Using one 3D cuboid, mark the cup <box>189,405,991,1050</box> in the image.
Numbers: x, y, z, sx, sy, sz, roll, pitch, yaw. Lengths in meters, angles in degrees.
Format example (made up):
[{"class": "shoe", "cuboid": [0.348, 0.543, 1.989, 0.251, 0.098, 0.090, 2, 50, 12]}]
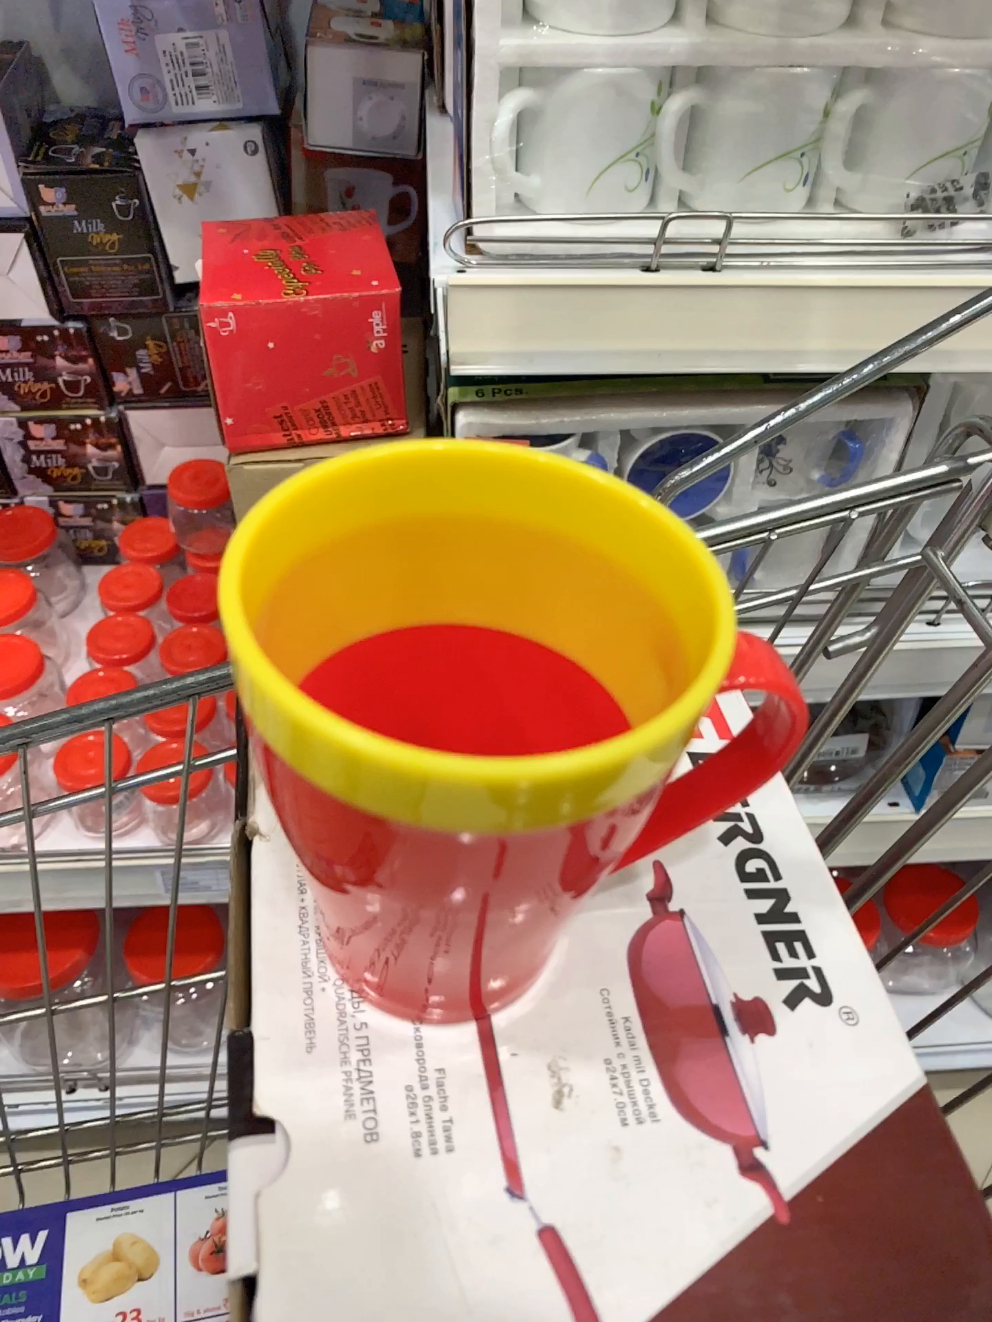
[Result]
[{"class": "cup", "cuboid": [0.009, 0.010, 0.187, 0.110, 0.080, 0.080, -2, 45, -9]}]
